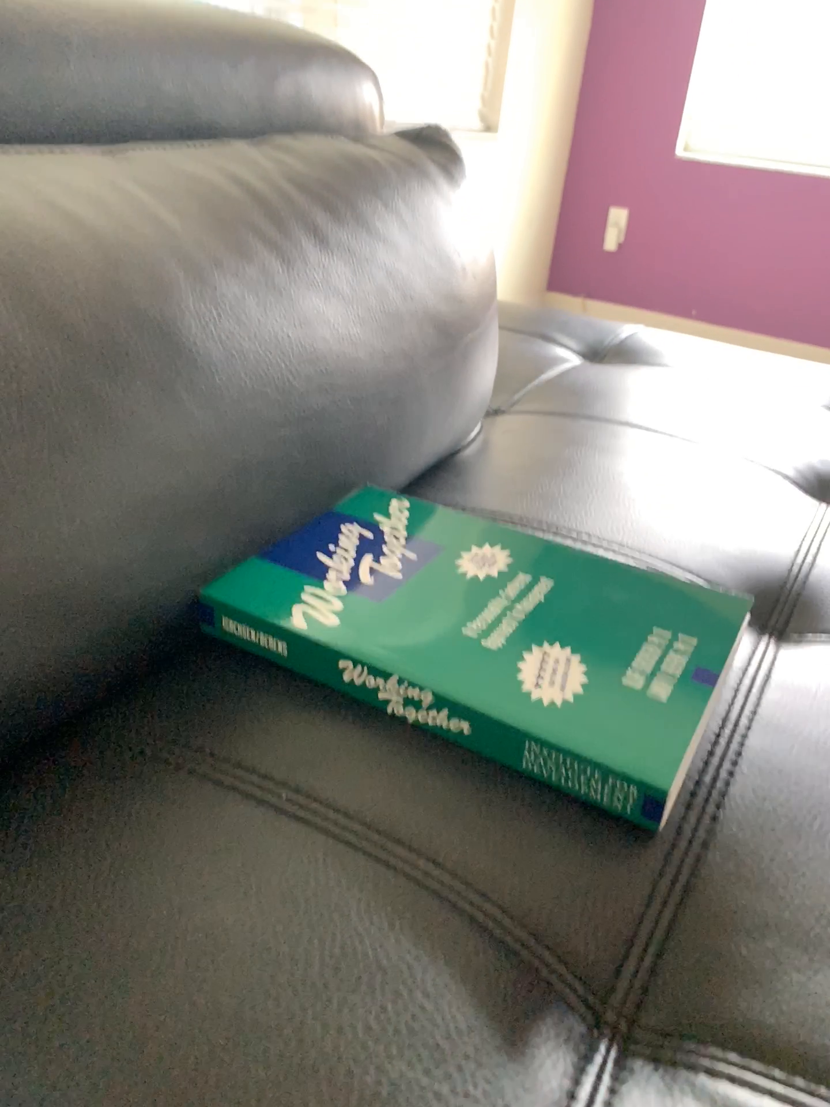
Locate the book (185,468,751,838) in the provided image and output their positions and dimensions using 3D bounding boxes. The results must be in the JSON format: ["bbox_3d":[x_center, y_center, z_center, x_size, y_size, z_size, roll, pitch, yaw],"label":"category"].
[{"bbox_3d":[0.026,0.026,0.390,0.216,0.033,0.138,20,31,24],"label":"book"}]
